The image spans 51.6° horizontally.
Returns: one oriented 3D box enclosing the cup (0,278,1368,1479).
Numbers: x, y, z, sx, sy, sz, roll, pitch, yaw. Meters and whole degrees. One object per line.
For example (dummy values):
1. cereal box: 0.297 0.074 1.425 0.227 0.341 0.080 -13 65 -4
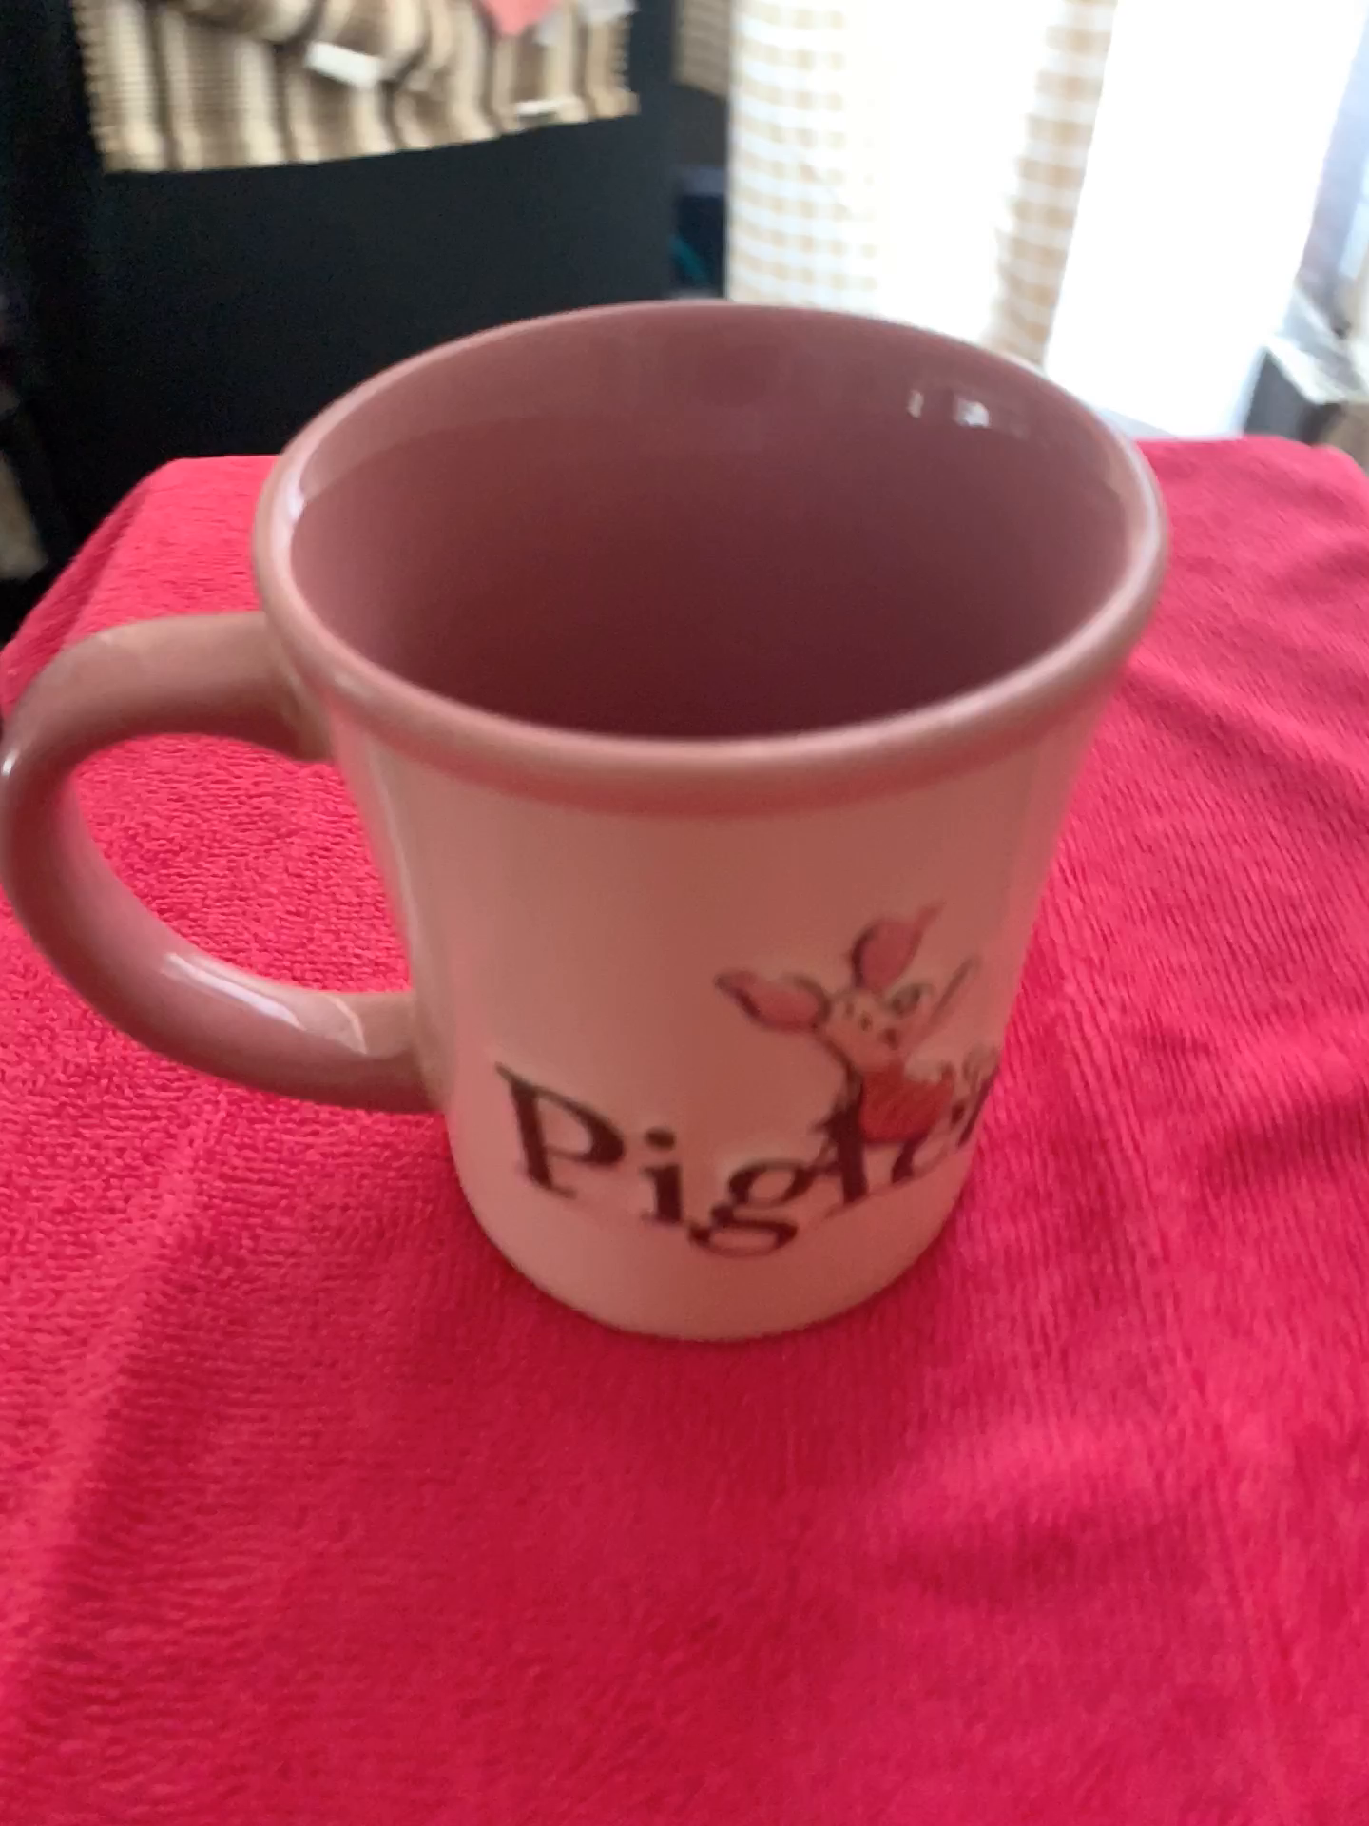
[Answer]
1. cup: -0.002 -0.003 0.177 0.130 0.109 0.091 -4 44 -2
